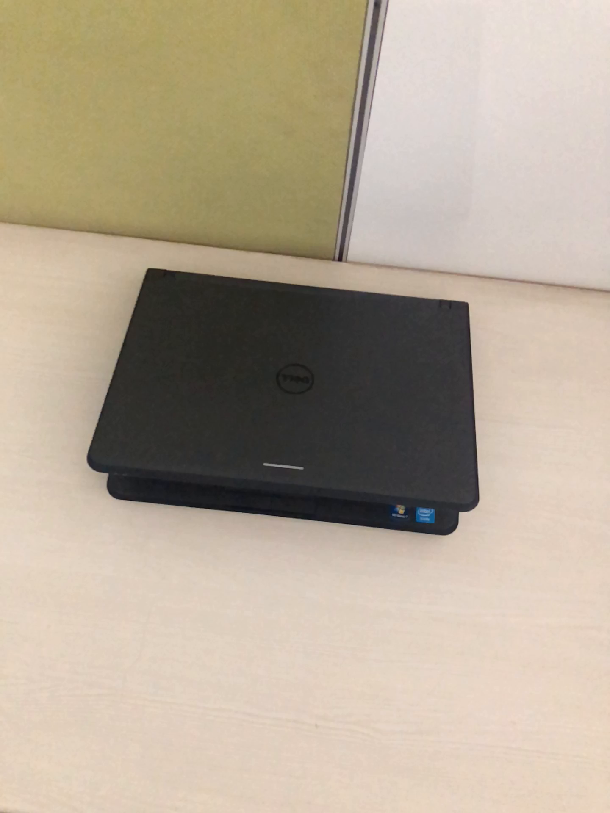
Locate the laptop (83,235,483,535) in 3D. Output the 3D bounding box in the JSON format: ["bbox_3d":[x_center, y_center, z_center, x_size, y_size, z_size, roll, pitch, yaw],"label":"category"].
[{"bbox_3d":[-0.009,-0.021,0.614,0.322,0.073,0.229,6,70,1],"label":"laptop"}]
